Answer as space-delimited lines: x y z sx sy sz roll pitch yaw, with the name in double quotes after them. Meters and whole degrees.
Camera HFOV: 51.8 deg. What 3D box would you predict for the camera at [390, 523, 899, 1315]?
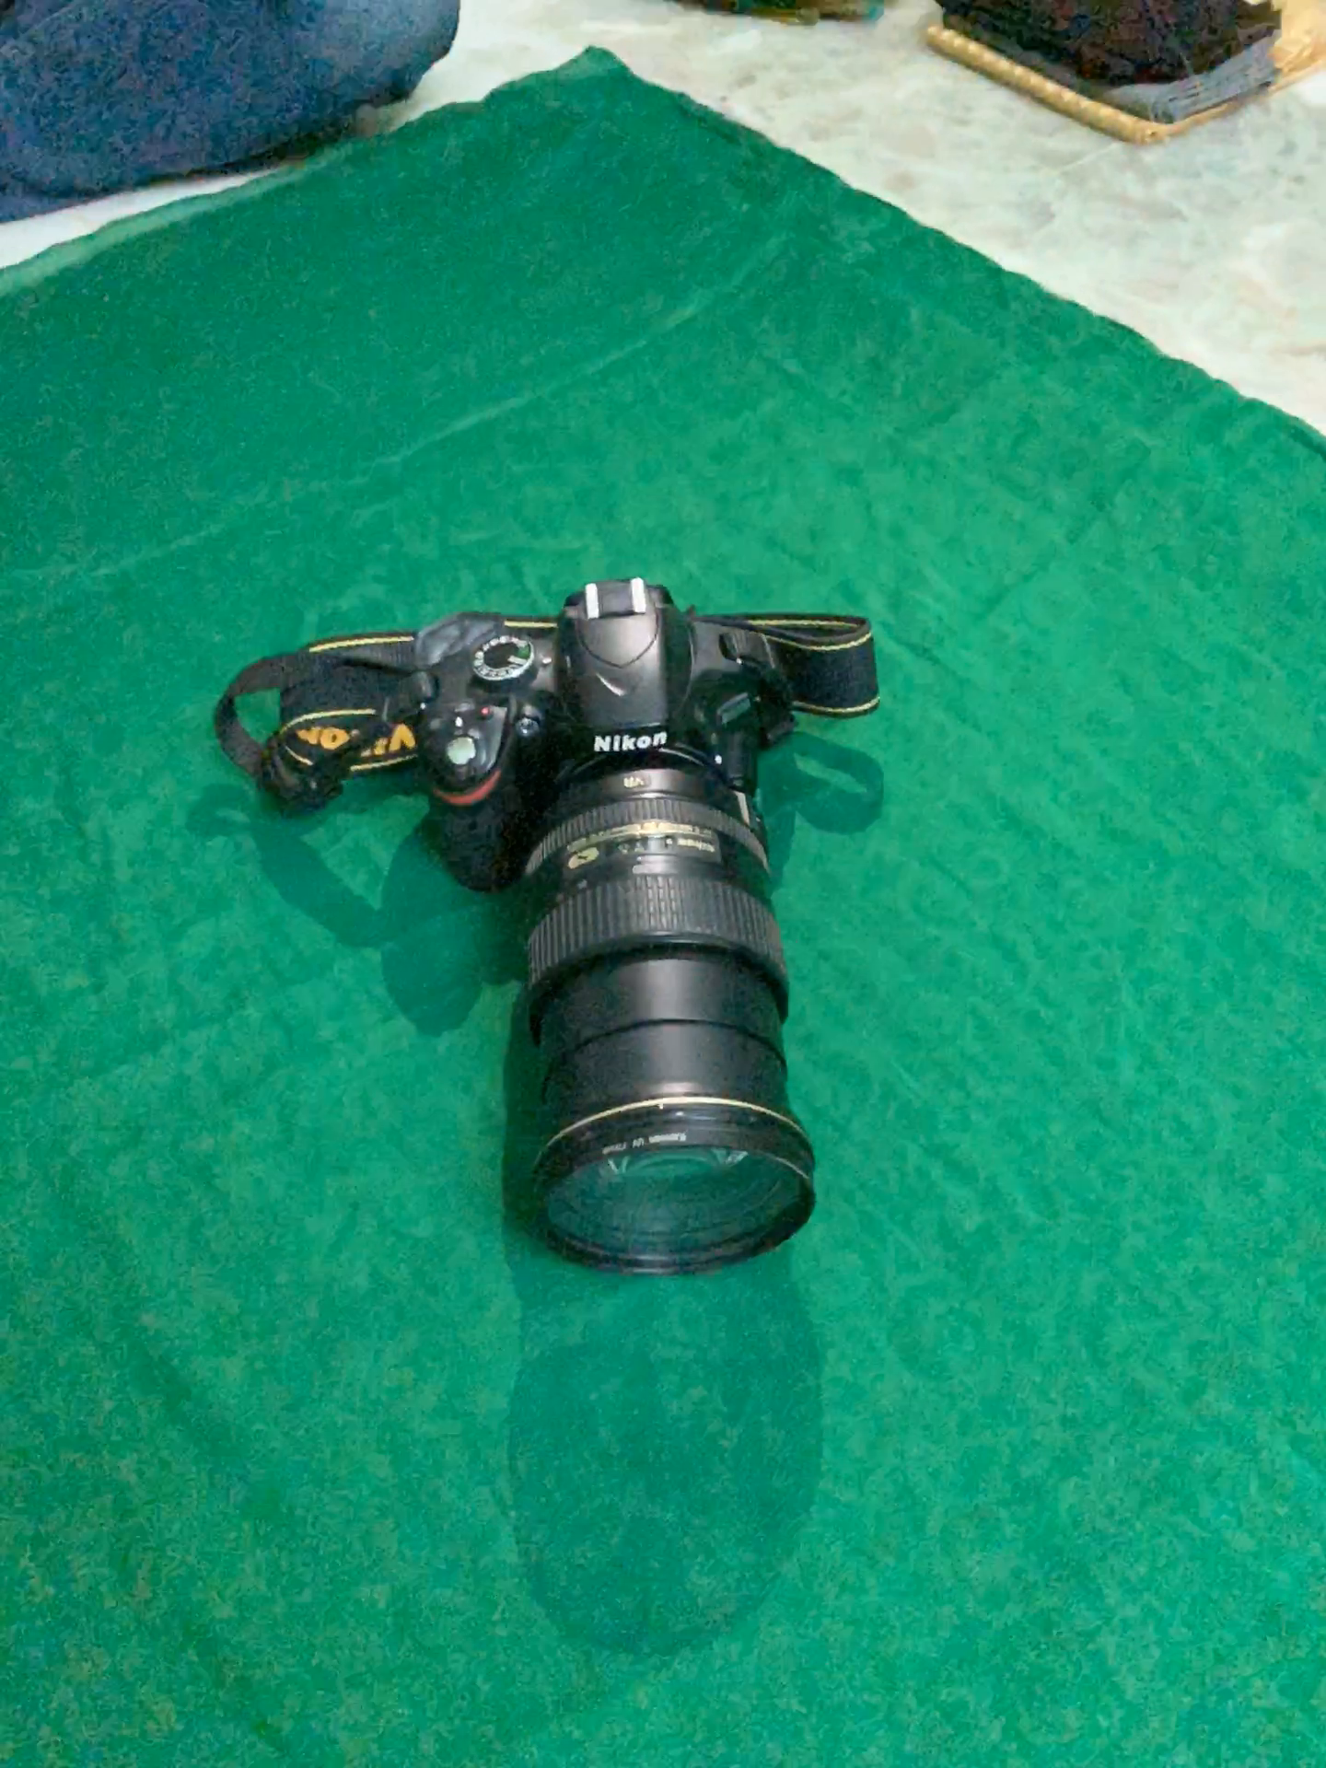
-0.010 0.001 0.433 0.122 0.088 0.235 -5 52 0 "camera"
